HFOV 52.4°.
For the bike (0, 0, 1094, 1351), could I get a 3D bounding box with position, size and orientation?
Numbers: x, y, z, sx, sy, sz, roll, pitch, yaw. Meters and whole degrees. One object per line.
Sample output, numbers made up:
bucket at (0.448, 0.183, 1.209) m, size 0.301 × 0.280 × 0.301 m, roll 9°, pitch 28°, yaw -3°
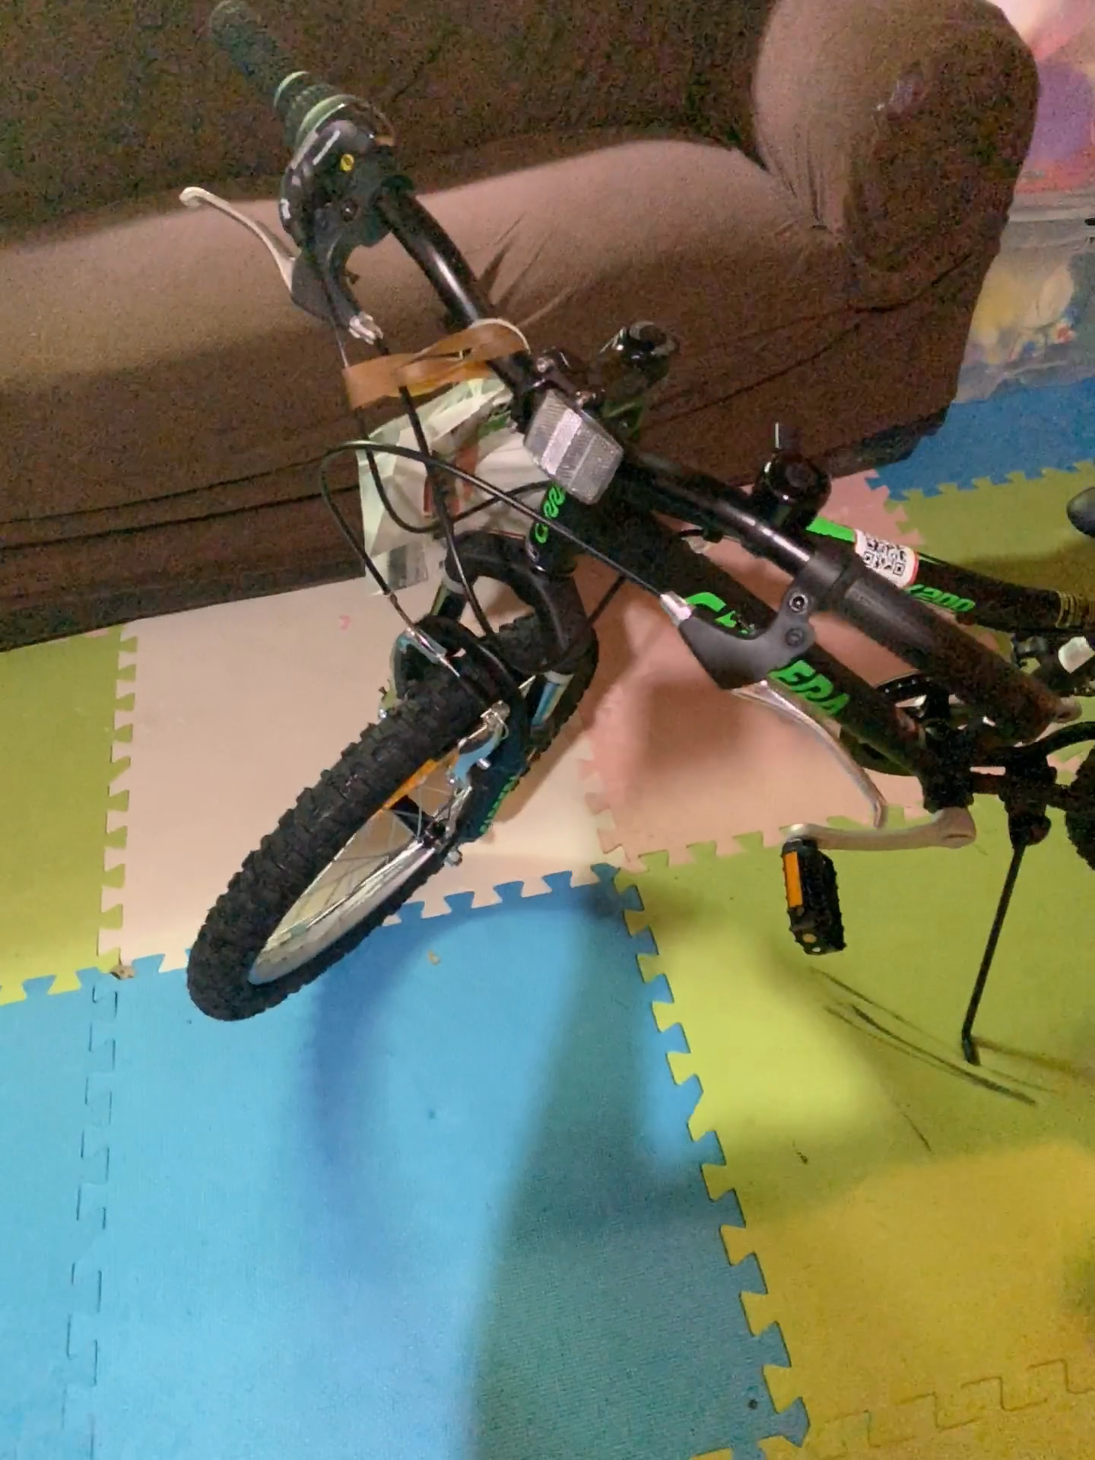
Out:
bike at (0.313, -0.024, 0.862) m, size 1.268 × 0.841 × 0.536 m, roll -8°, pitch 47°, yaw 0°
